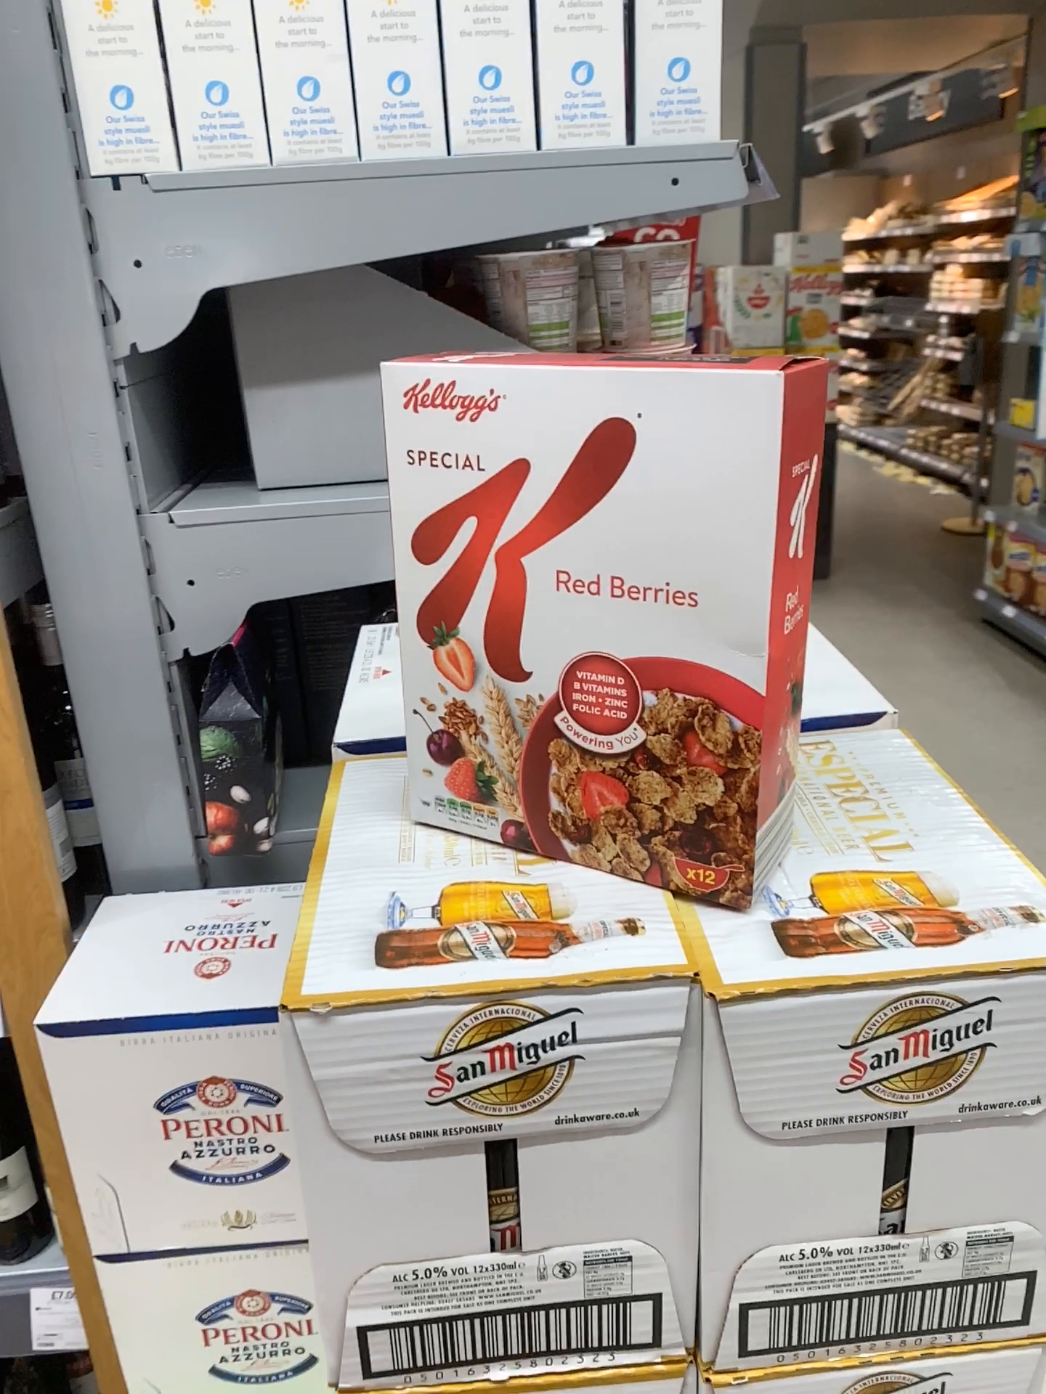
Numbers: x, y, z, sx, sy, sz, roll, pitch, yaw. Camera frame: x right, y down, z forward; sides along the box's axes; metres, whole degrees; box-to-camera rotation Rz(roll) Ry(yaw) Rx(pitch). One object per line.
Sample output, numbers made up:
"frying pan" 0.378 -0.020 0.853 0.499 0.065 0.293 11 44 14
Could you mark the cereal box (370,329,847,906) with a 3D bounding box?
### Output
"cereal box" 0.037 -0.047 0.513 0.200 0.238 0.070 10 22 31
